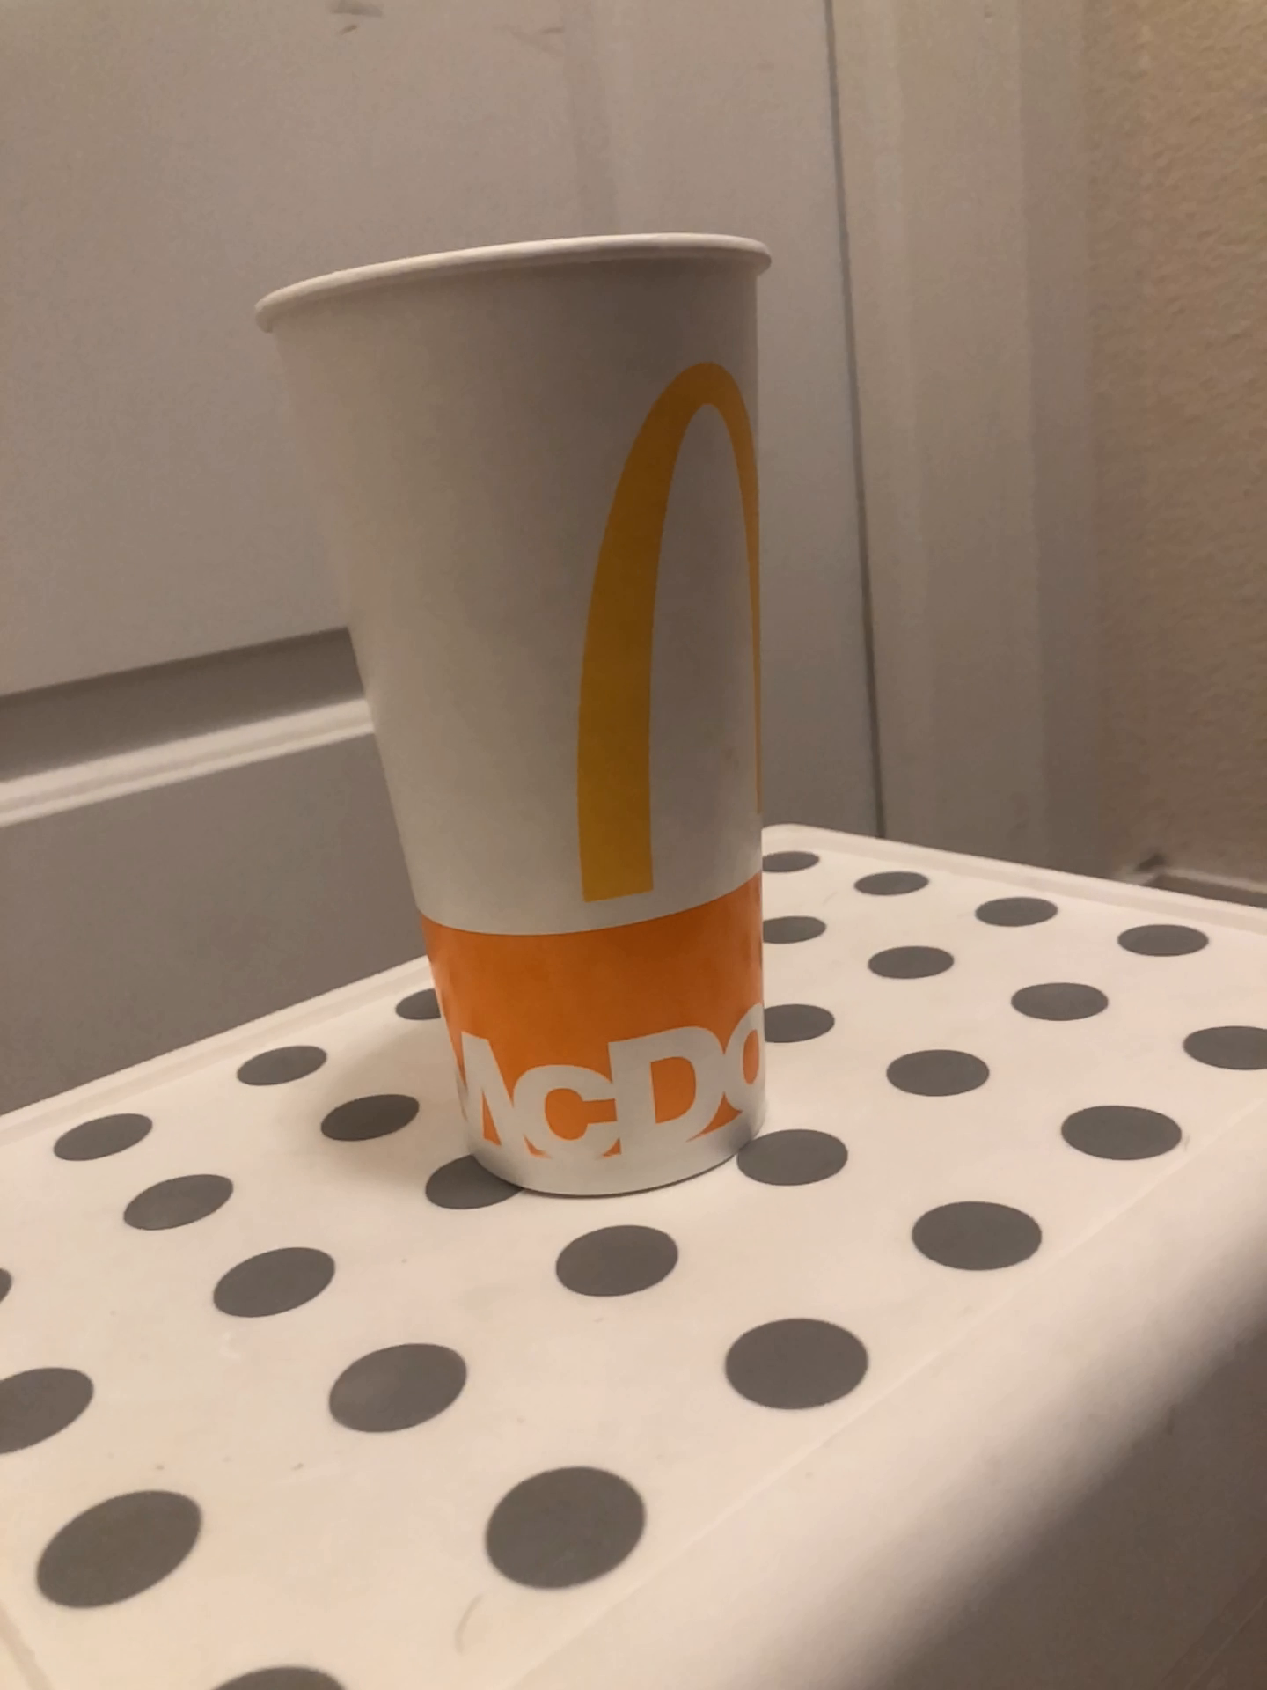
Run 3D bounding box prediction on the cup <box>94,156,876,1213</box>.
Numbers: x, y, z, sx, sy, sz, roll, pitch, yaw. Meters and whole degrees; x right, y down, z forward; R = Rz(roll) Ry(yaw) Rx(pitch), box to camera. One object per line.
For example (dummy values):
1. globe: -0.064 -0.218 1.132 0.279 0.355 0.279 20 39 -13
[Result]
1. cup: -0.012 -0.028 0.263 0.099 0.155 0.100 -6 16 2
